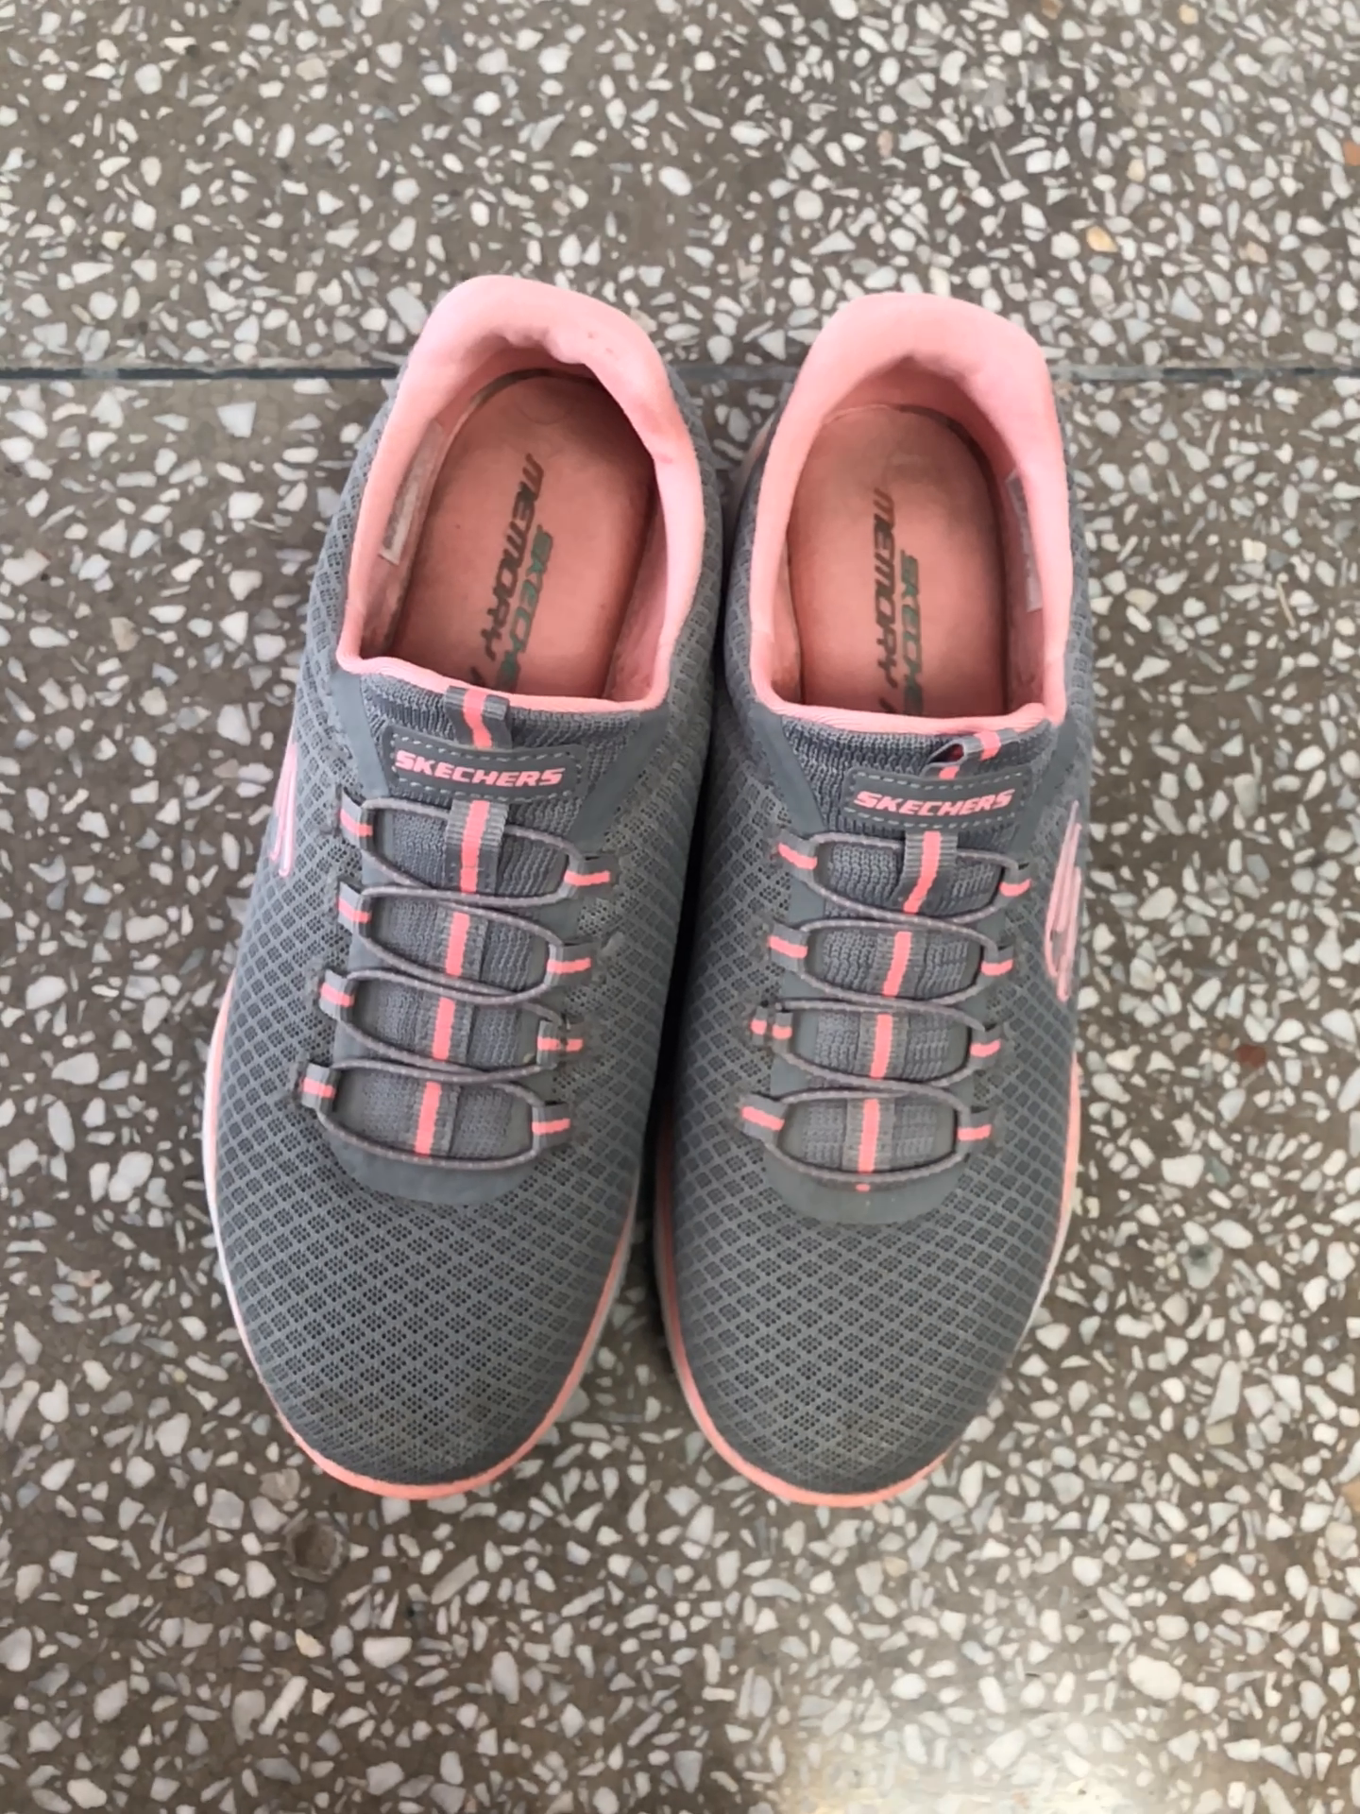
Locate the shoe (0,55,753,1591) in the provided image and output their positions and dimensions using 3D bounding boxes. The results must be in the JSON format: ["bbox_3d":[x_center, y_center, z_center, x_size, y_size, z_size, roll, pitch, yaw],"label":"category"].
[{"bbox_3d":[-0.049,-0.016,0.296,0.097,0.095,0.252,5,77,-4],"label":"shoe"}]

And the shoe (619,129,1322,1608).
[{"bbox_3d":[0.052,-0.006,0.308,0.102,0.108,0.246,5,77,-4],"label":"shoe"}]
